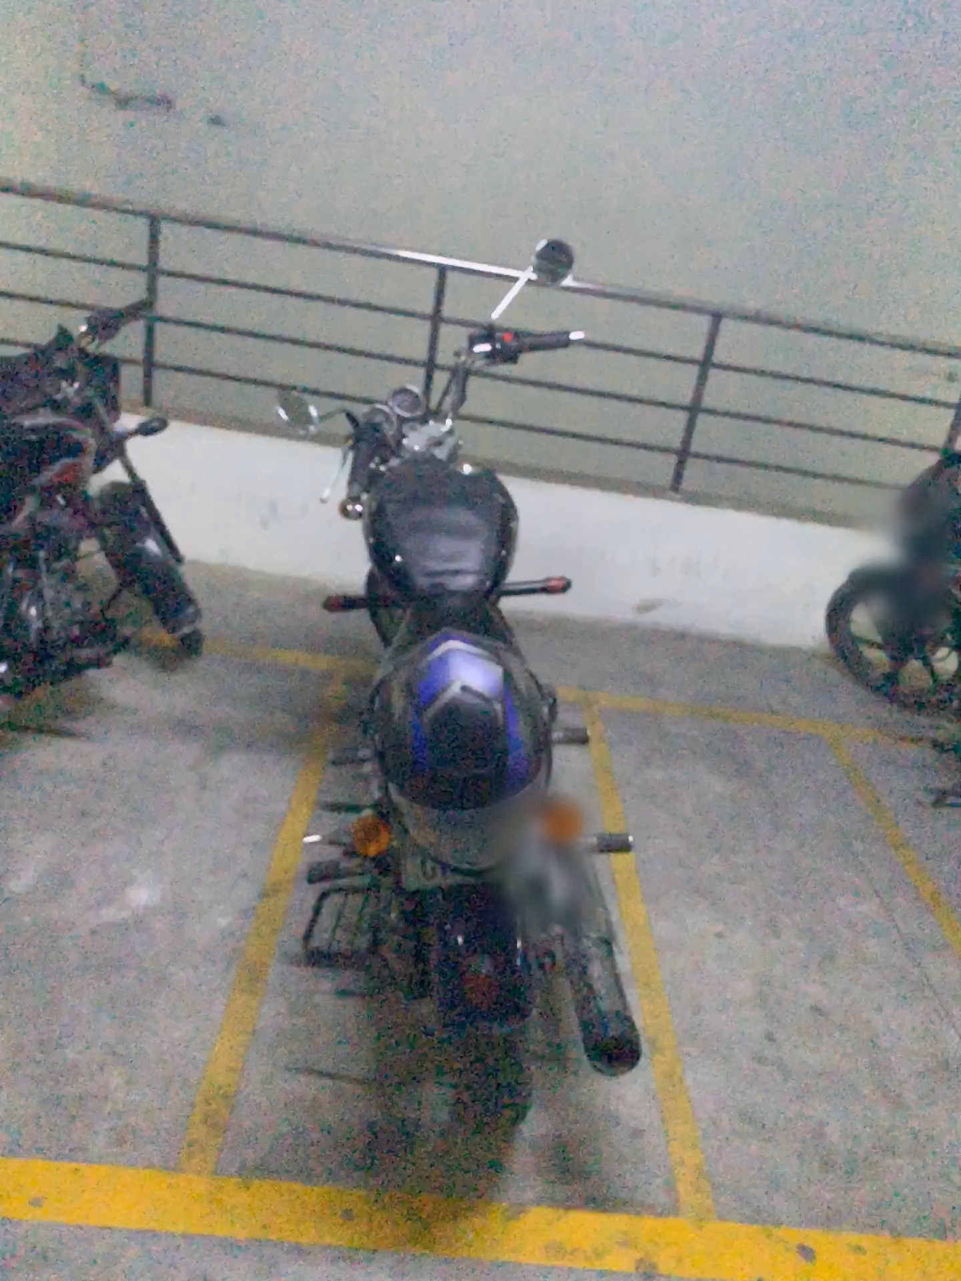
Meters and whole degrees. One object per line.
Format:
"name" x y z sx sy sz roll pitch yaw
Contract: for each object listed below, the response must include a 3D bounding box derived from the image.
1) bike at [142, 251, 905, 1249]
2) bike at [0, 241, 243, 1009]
"bike" -0.195 0.025 2.100 0.842 1.304 1.673 4 25 -15
"bike" -1.216 -0.226 2.327 0.593 1.193 1.509 14 25 9
